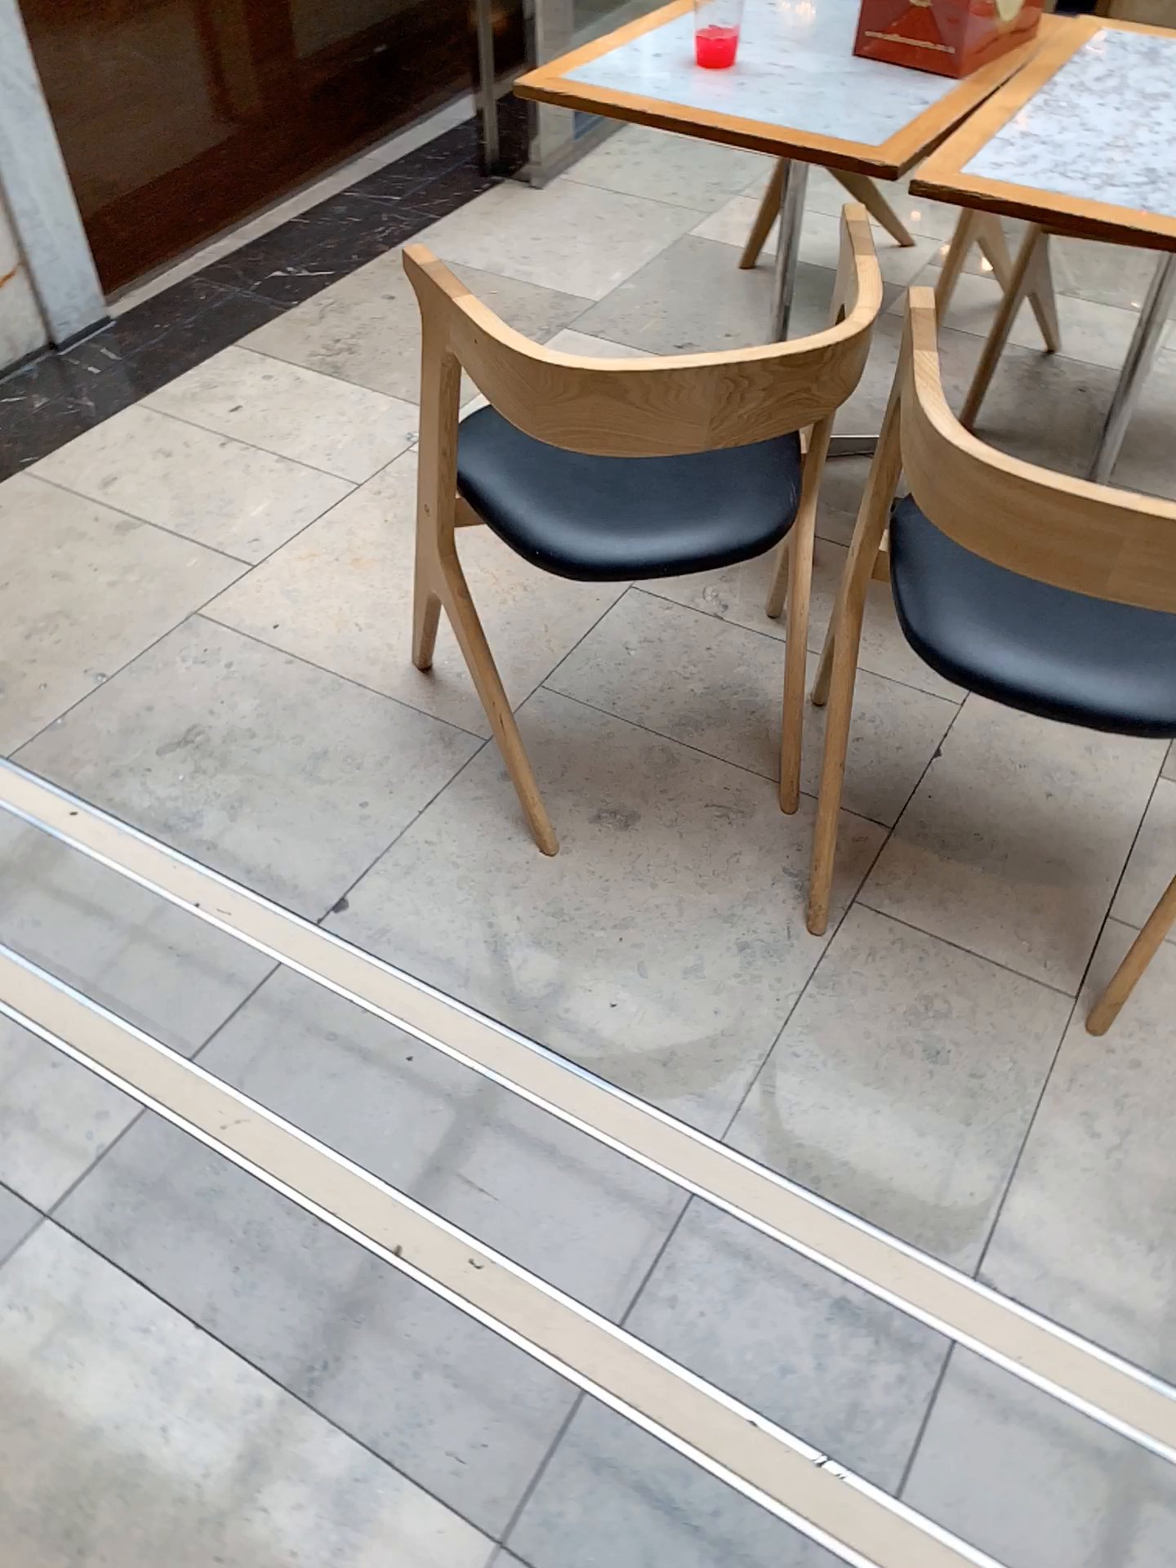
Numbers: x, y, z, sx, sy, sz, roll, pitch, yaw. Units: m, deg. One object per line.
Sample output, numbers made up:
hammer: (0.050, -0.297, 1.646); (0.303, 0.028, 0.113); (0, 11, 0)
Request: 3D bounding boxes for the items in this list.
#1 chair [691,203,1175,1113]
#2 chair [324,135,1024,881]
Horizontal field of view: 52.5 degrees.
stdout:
chair: (0.530, -0.142, 1.358); (0.634, 0.718, 0.533); (18, 49, 16)
chair: (0.058, -0.346, 1.546); (0.643, 0.708, 0.503); (-10, 47, -9)
